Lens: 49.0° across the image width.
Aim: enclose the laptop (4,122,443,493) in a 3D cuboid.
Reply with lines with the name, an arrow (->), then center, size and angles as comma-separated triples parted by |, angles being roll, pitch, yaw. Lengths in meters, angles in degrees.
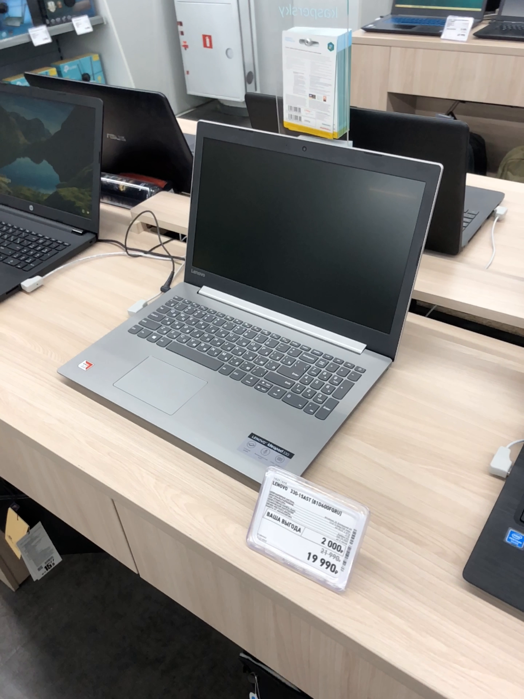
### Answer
laptop -> -0.033, -0.094, 0.740 | 0.380, 0.235, 0.344 | 22, 46, 30
